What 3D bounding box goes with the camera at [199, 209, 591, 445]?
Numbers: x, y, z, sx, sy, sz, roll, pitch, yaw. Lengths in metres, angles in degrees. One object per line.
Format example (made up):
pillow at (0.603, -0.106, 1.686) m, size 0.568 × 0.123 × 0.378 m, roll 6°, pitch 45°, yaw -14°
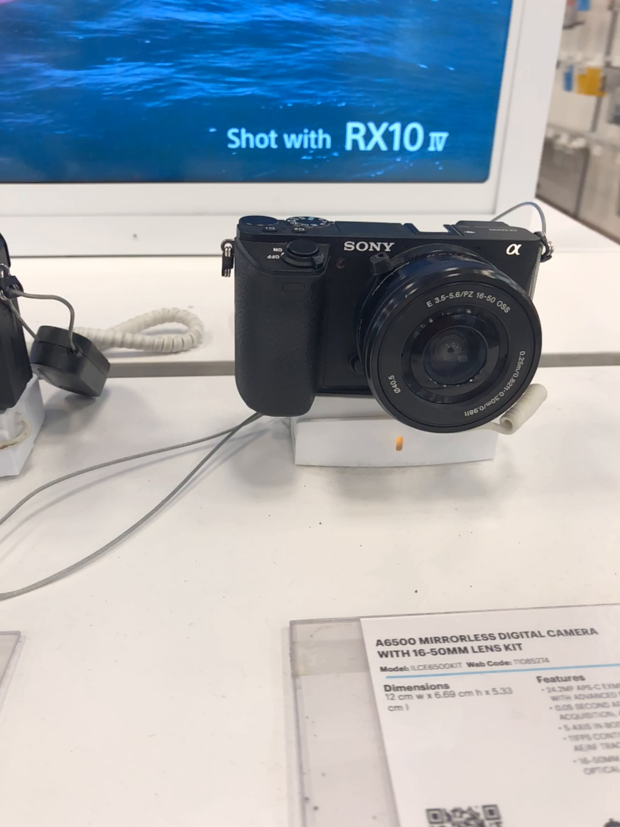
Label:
camera at (0.026, -0.037, 0.274) m, size 0.130 × 0.070 × 0.070 m, roll -1°, pitch 28°, yaw -4°
